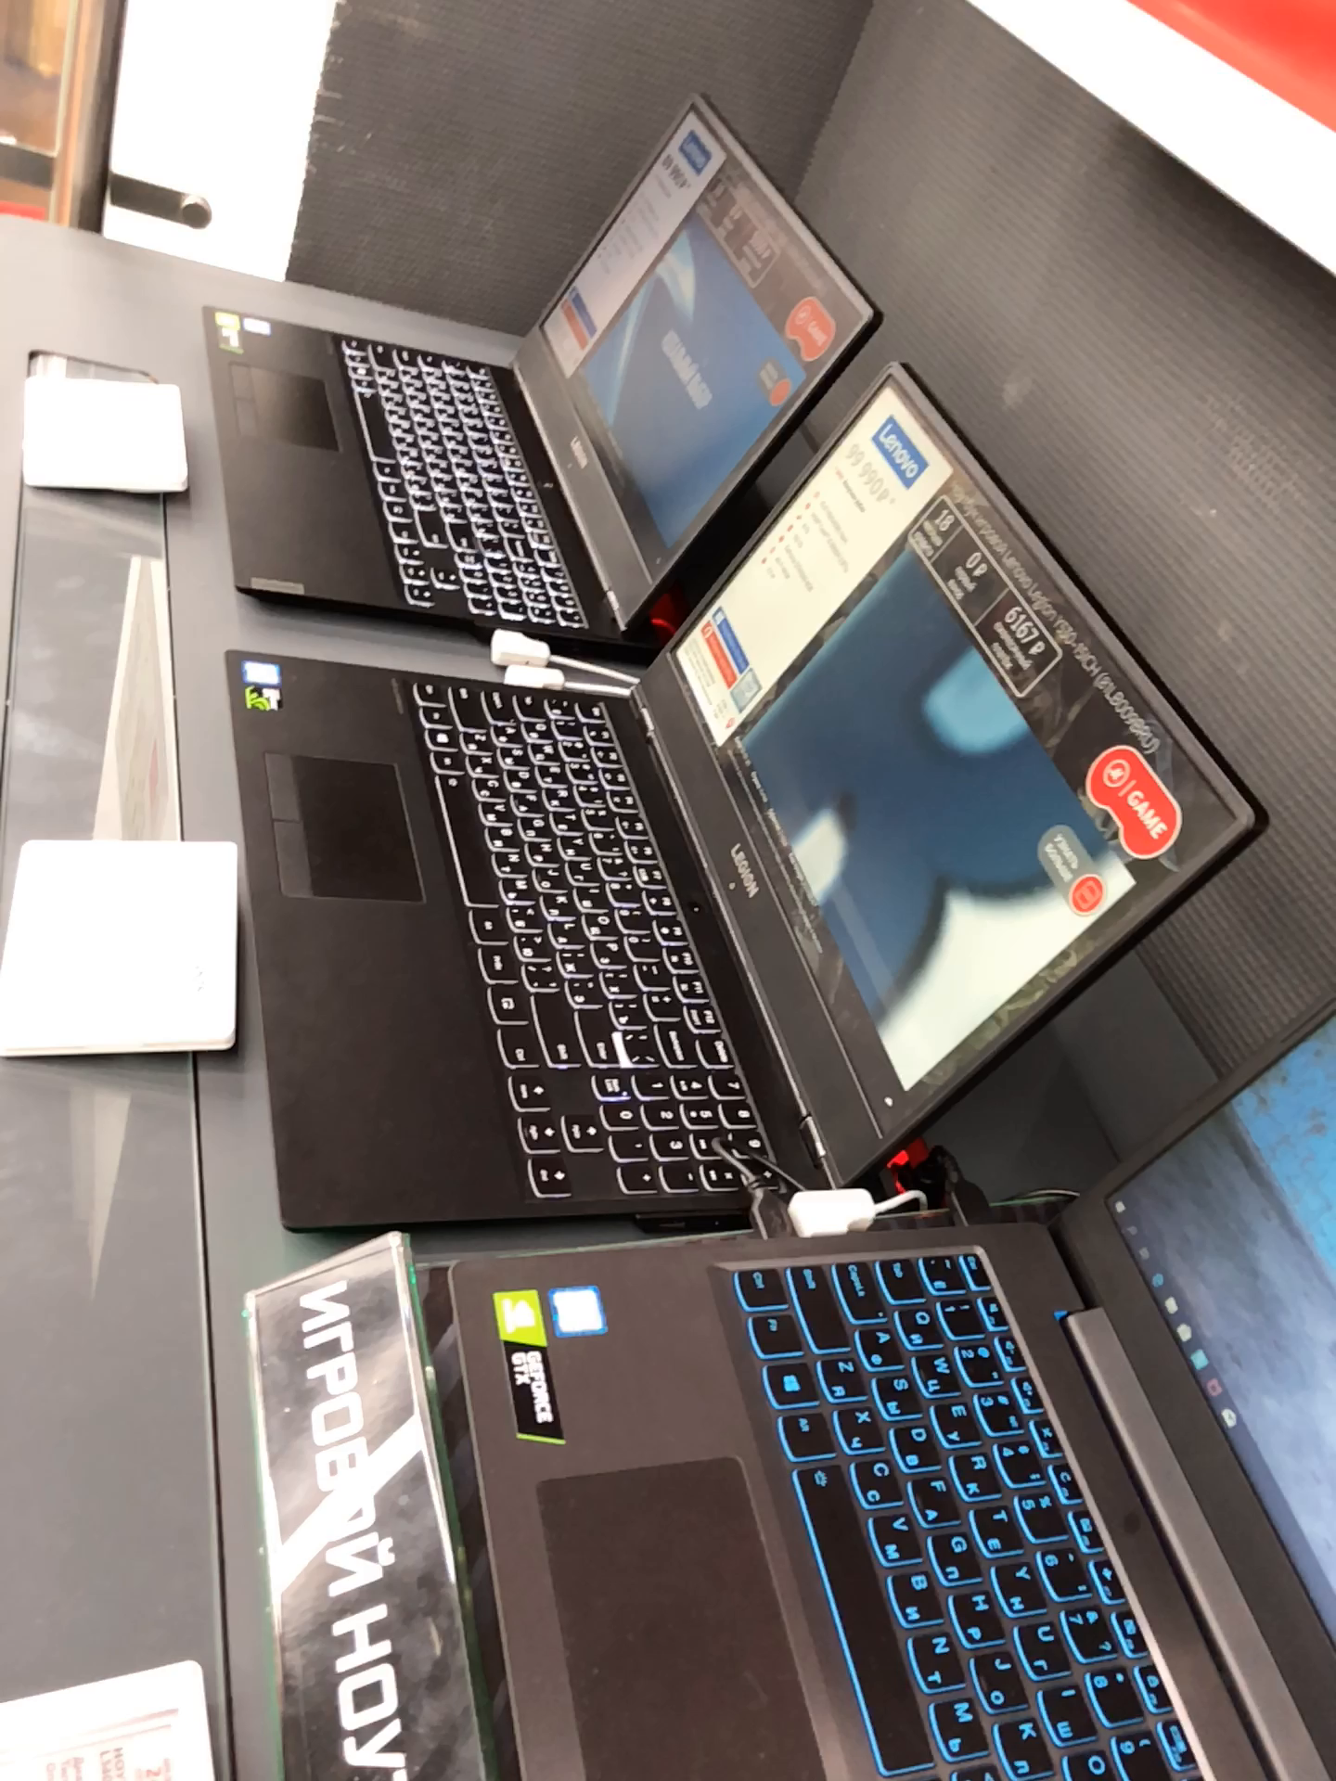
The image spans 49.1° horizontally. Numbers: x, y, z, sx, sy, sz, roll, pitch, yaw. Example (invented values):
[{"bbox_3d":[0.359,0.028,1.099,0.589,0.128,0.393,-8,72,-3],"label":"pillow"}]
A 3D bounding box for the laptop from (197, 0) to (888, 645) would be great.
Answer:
[{"bbox_3d":[-0.106,-0.368,0.924,0.315,0.223,0.354,2,44,-26],"label":"laptop"}]

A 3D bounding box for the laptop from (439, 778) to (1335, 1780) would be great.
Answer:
[{"bbox_3d":[0.159,0.178,0.376,0.334,0.225,0.356,2,43,-21],"label":"laptop"}]

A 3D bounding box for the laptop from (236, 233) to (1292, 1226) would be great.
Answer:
[{"bbox_3d":[-0.004,-0.074,0.641,0.301,0.225,0.354,3,43,-24],"label":"laptop"}]
